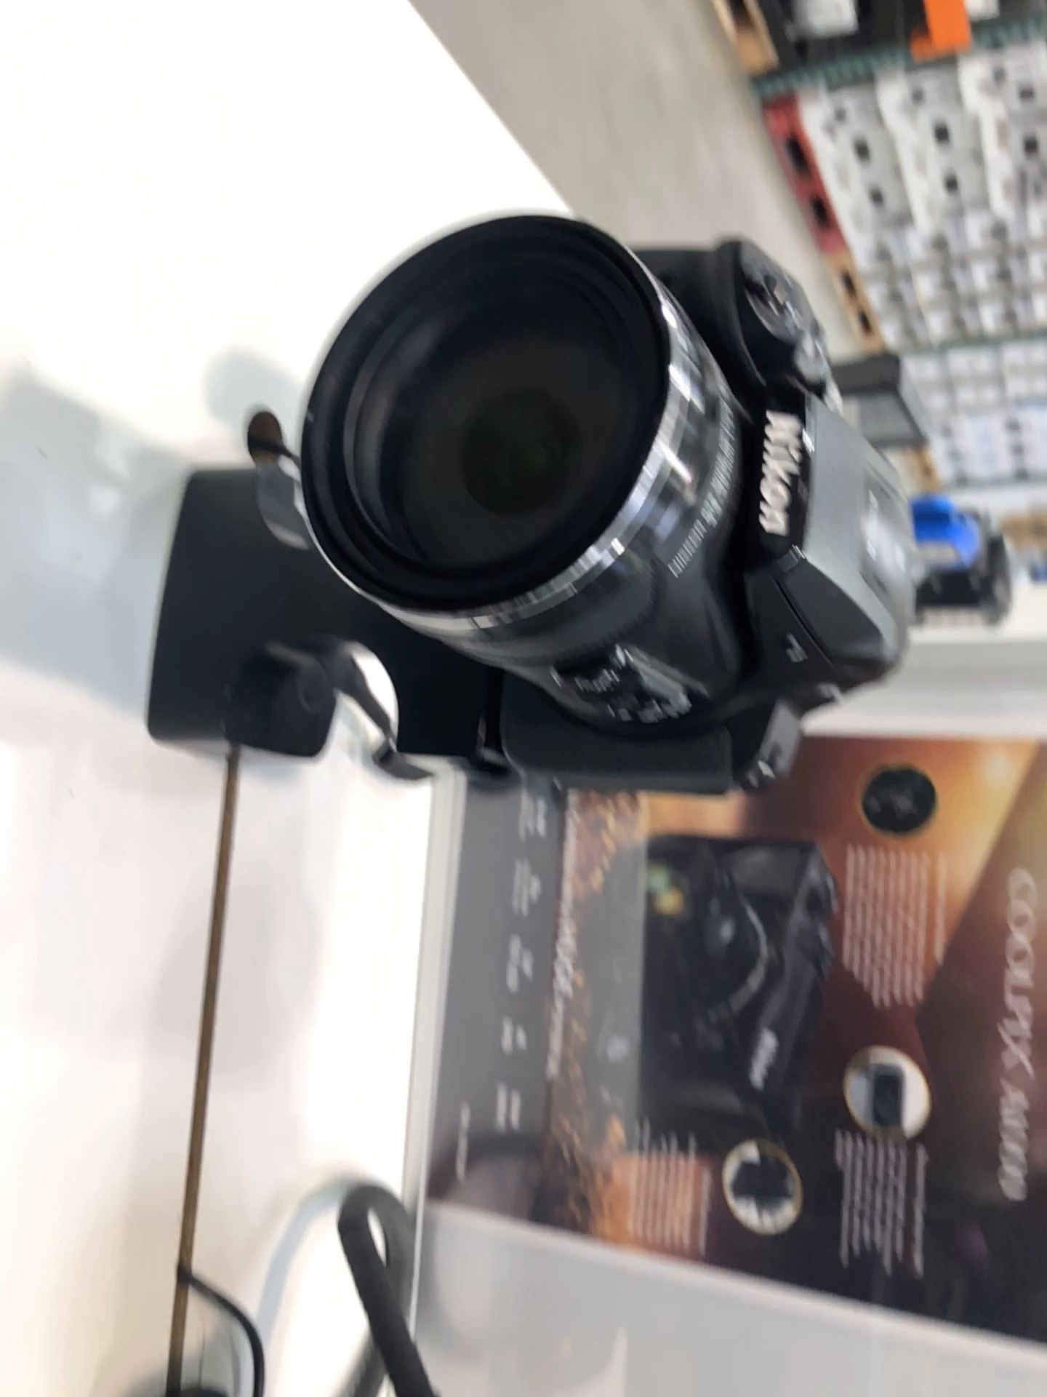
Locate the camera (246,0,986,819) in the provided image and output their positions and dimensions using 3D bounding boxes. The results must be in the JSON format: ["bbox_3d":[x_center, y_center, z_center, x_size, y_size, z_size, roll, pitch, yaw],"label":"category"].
[{"bbox_3d":[0.039,-0.054,0.264,0.151,0.109,0.140,26,68,-62],"label":"camera"}]
